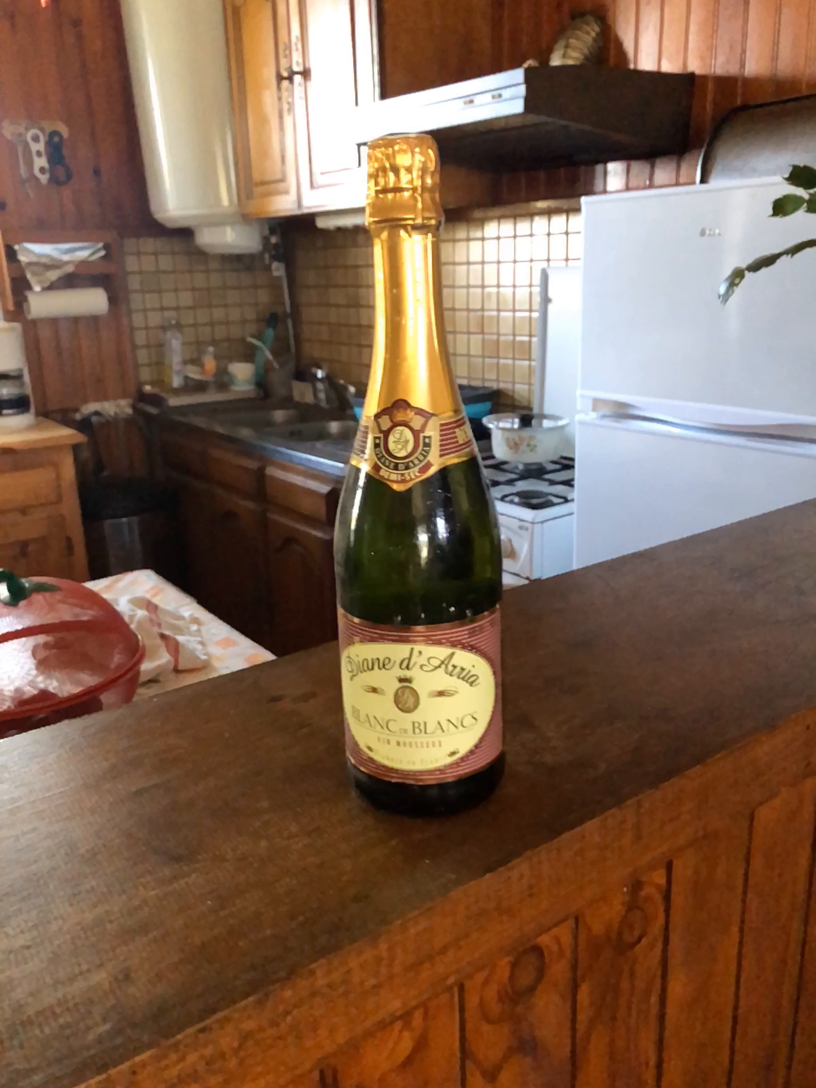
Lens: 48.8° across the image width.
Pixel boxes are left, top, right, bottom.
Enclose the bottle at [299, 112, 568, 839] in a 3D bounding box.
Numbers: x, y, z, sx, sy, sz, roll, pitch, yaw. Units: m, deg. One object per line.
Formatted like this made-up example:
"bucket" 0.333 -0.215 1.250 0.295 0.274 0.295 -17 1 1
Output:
"bottle" 0.020 -0.028 0.421 0.090 0.299 0.101 3 17 17
